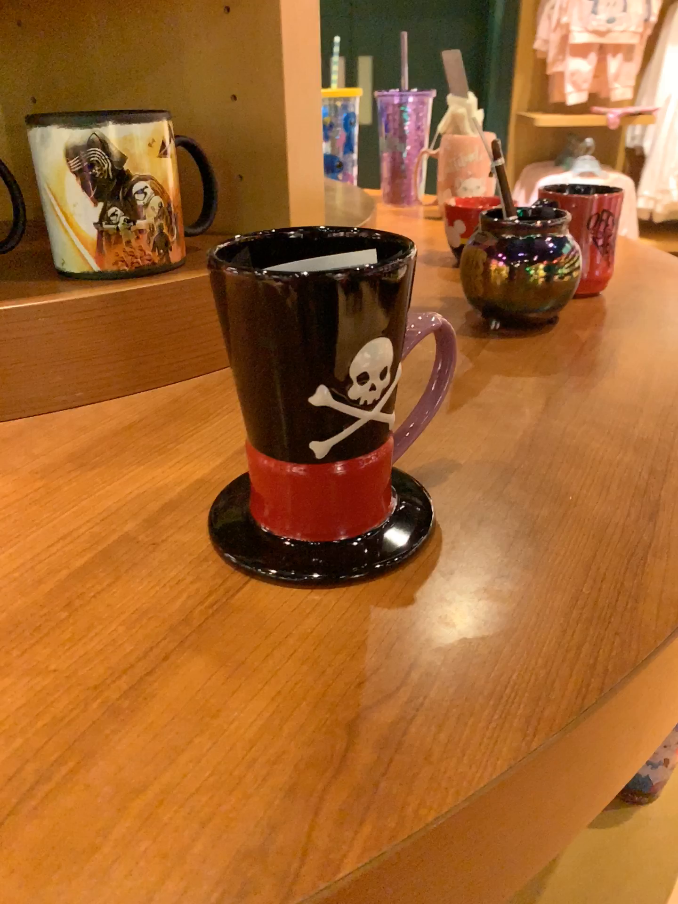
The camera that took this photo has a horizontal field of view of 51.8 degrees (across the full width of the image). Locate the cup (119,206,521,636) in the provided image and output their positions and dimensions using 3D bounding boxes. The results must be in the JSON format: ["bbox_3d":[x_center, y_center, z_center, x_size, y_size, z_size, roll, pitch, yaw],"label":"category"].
[{"bbox_3d":[-0.008,-0.028,0.333,0.134,0.144,0.110,-21,34,-34],"label":"cup"}]
